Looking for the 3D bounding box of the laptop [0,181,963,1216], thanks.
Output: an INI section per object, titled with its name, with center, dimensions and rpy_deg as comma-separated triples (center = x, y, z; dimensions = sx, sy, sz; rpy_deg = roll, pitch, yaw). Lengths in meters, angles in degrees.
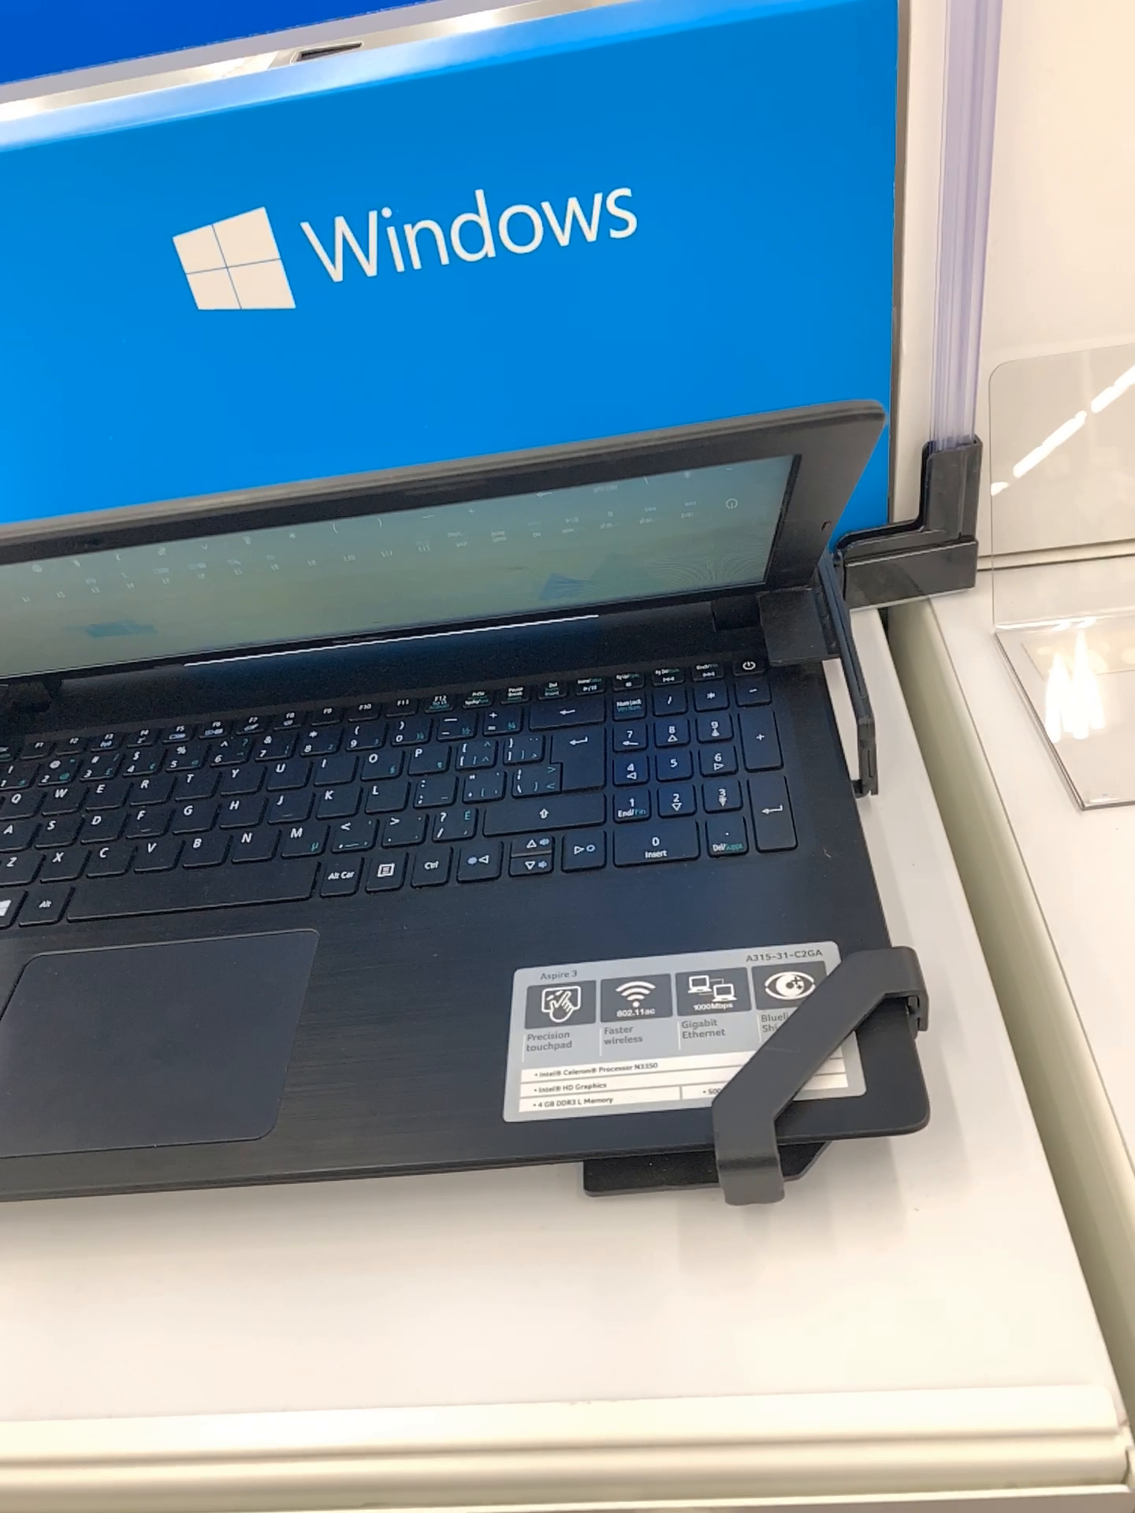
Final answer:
[laptop]
center = -0.093, -0.025, 0.334
dimensions = 0.344, 0.147, 0.227
rpy_deg = -6, 41, 6
